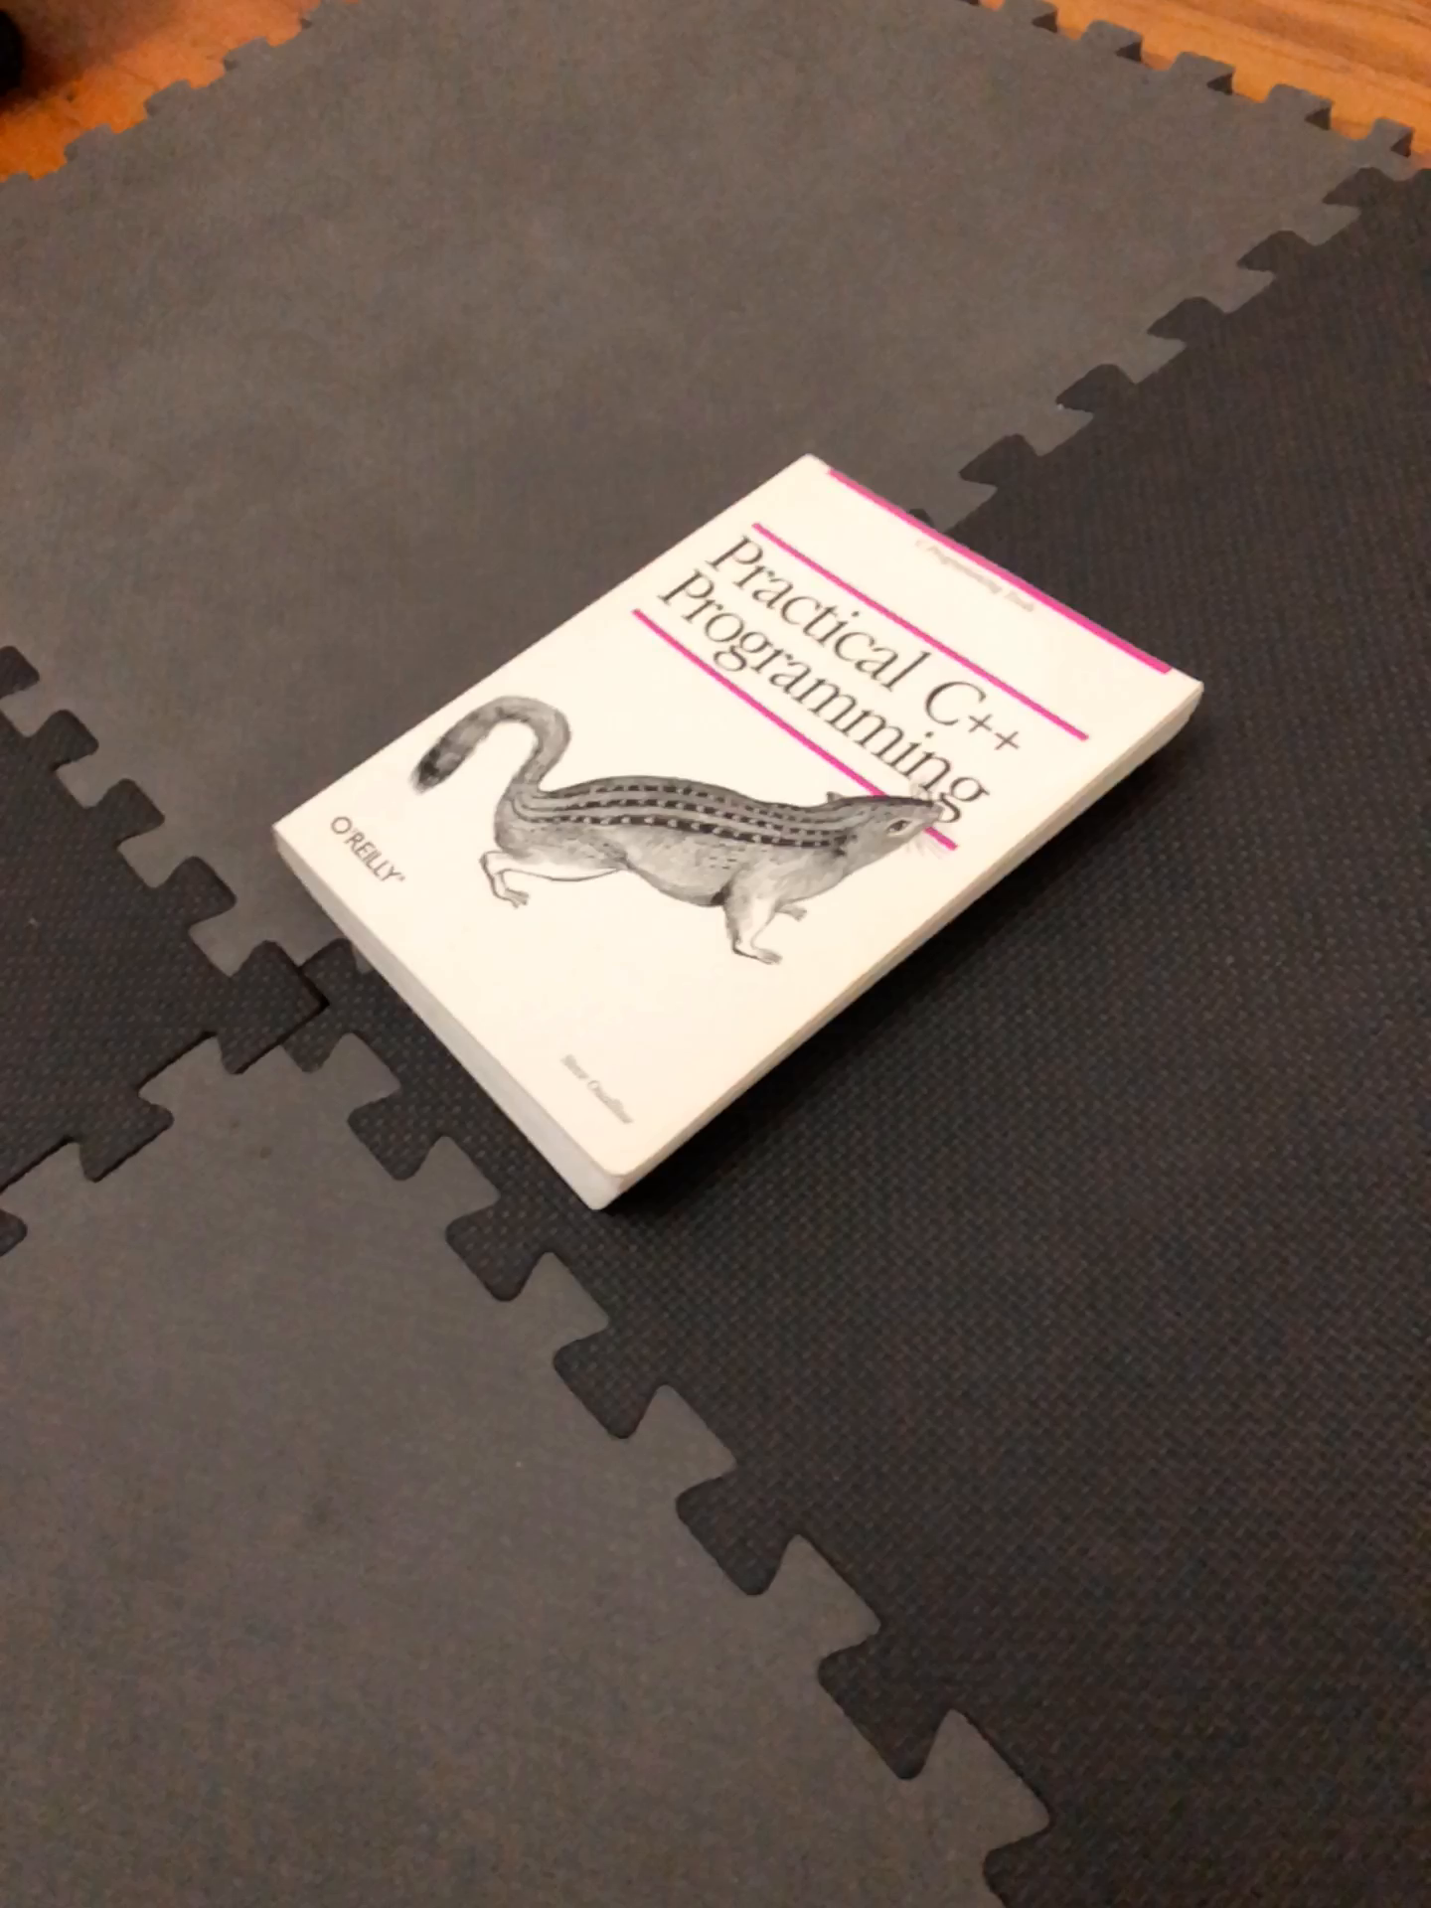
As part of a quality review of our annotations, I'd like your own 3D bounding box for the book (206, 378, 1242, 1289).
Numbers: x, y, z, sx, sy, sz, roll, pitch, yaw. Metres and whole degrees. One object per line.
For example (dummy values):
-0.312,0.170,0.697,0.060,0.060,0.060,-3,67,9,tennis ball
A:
0.002,-0.055,0.508,0.250,0.050,0.201,-39,63,-15,book
